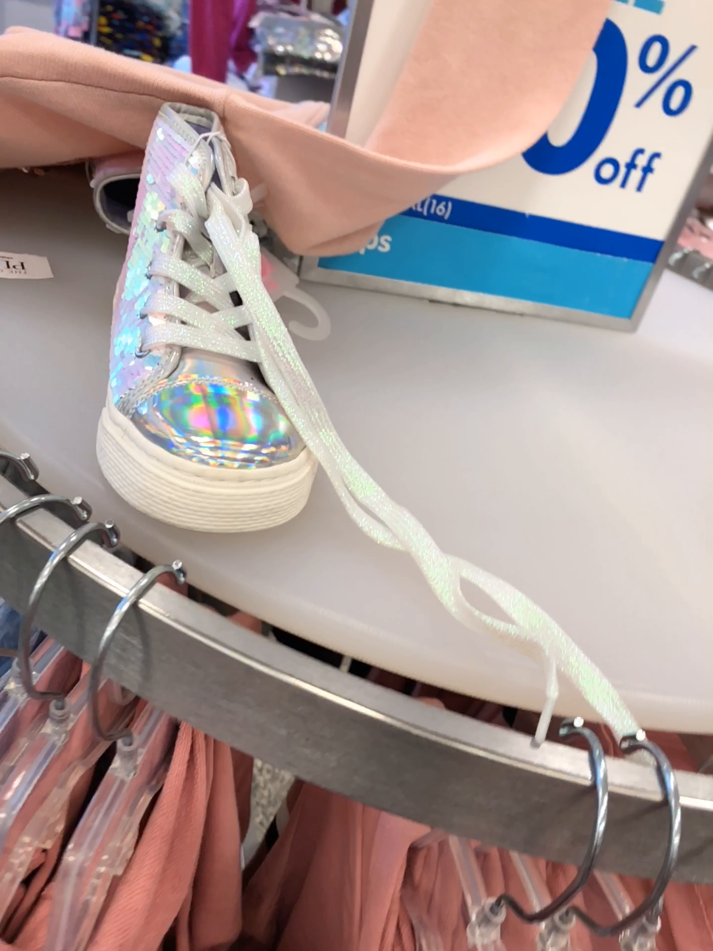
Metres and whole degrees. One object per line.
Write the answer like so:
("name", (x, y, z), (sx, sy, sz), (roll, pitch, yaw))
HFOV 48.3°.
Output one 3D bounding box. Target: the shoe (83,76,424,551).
("shoe", (-0.062, -0.078, 0.330), (0.090, 0.105, 0.212), (3, 35, -21))
